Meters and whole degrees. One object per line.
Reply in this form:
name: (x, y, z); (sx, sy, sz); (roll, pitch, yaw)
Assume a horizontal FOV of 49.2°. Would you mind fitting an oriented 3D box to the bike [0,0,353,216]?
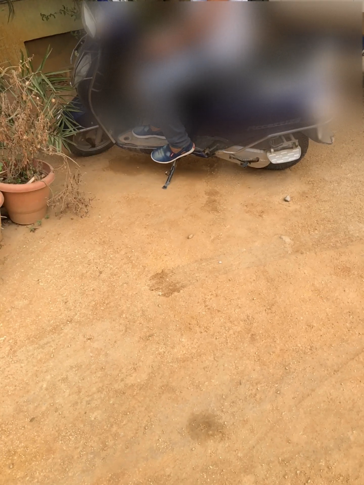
bike: (-0.050, -0.888, 2.312); (1.620, 1.221, 0.591); (4, 39, 9)
